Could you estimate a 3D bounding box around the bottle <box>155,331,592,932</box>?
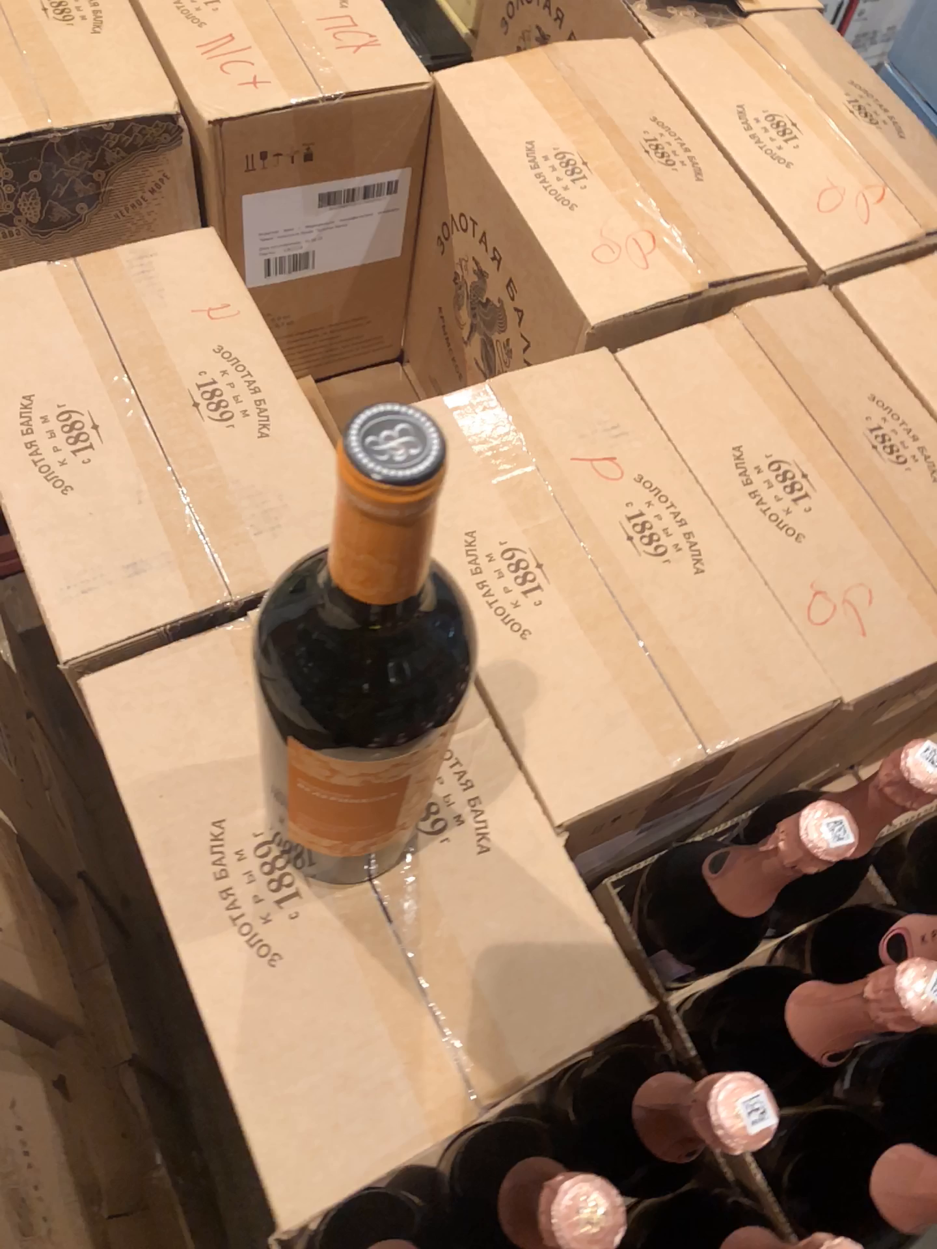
[{"bbox_3d":[-0.043,0.029,0.389,0.090,0.279,0.090,3,62,-6],"label":"bottle"}]
